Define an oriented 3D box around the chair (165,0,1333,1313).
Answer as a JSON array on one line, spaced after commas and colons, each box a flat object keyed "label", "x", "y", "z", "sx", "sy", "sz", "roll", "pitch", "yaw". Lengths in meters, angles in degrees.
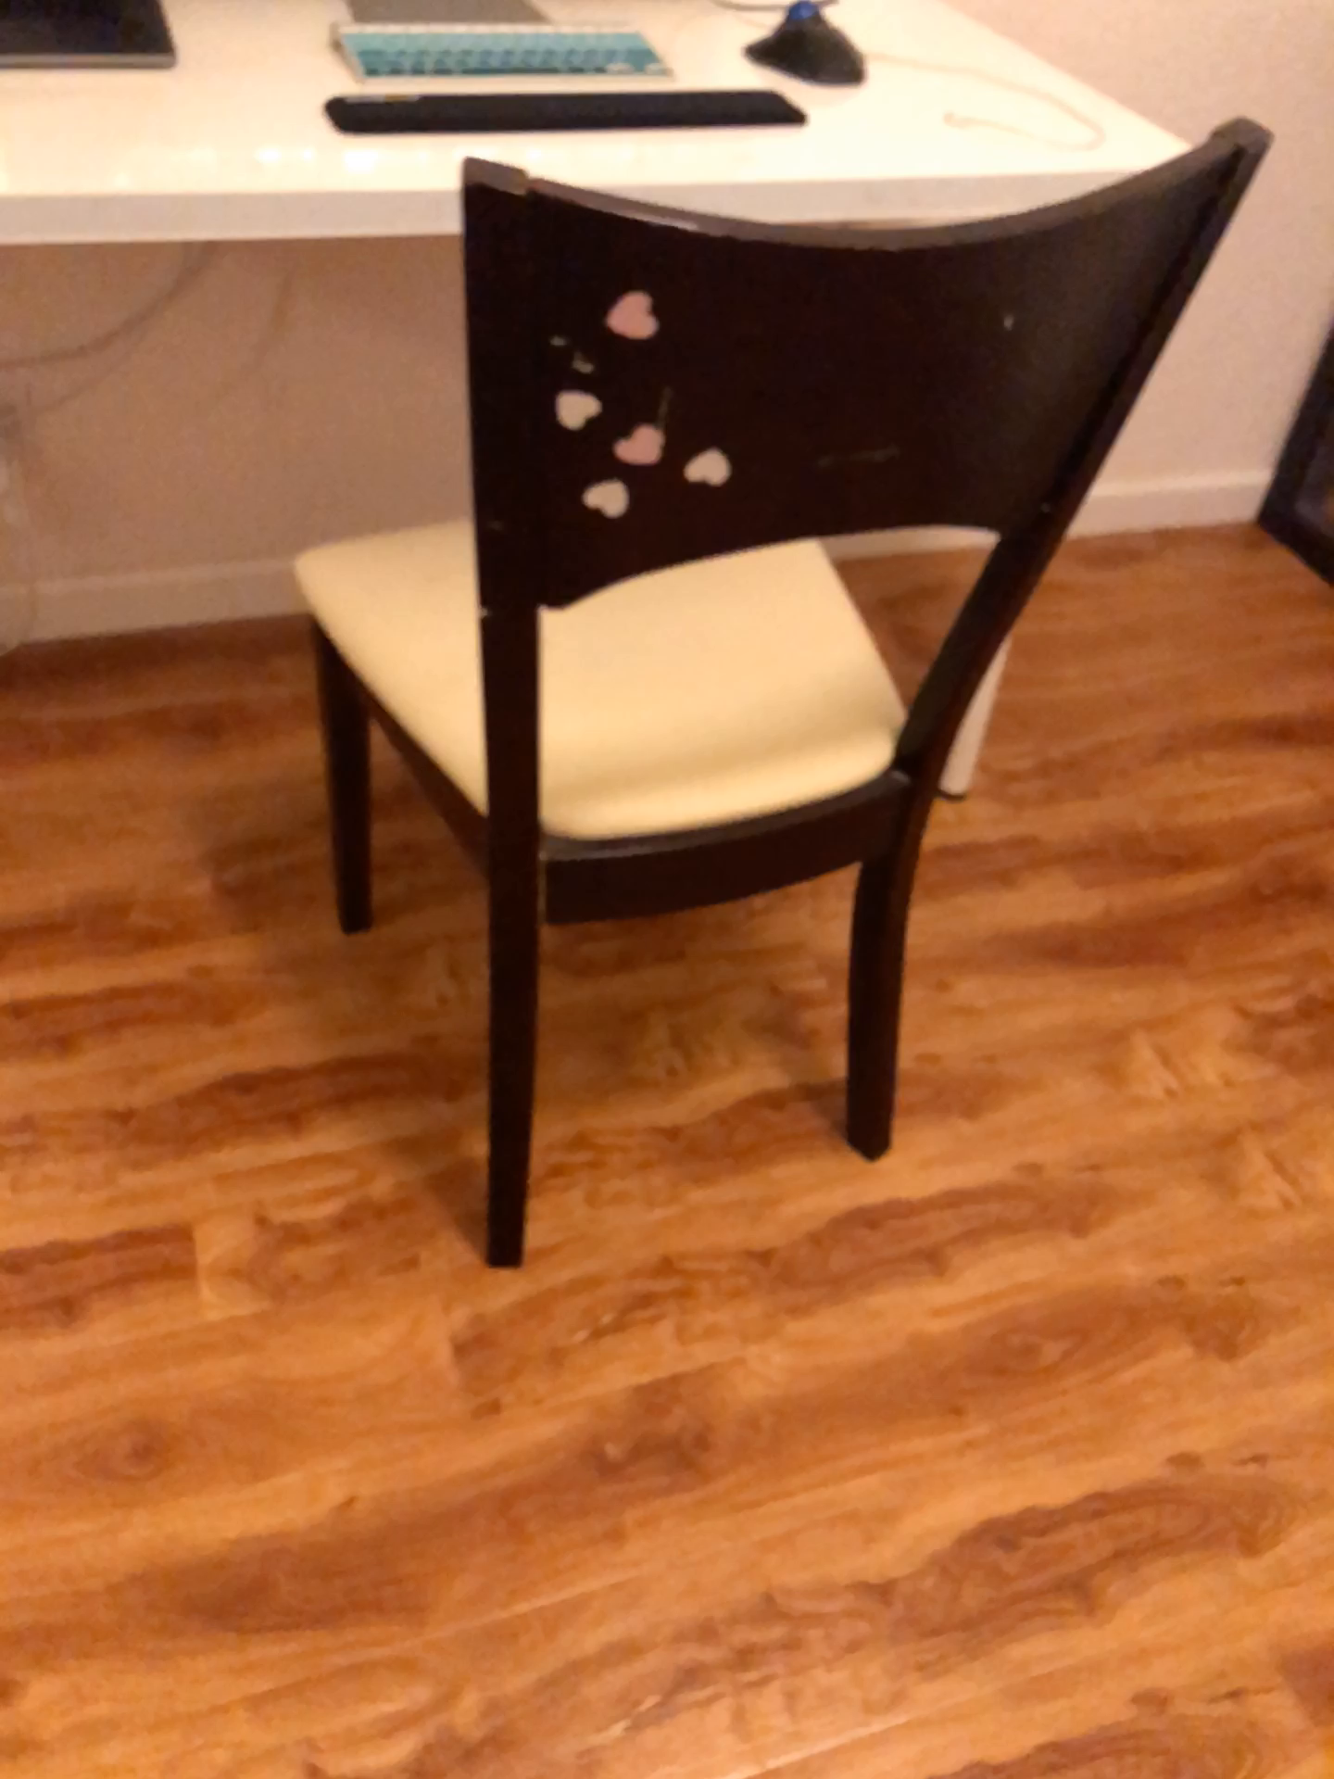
[{"label": "chair", "x": 0.000, "y": -0.200, "z": 1.120, "sx": 0.531, "sy": 0.845, "sz": 0.512, "roll": -14, "pitch": 48, "yaw": -21}]
